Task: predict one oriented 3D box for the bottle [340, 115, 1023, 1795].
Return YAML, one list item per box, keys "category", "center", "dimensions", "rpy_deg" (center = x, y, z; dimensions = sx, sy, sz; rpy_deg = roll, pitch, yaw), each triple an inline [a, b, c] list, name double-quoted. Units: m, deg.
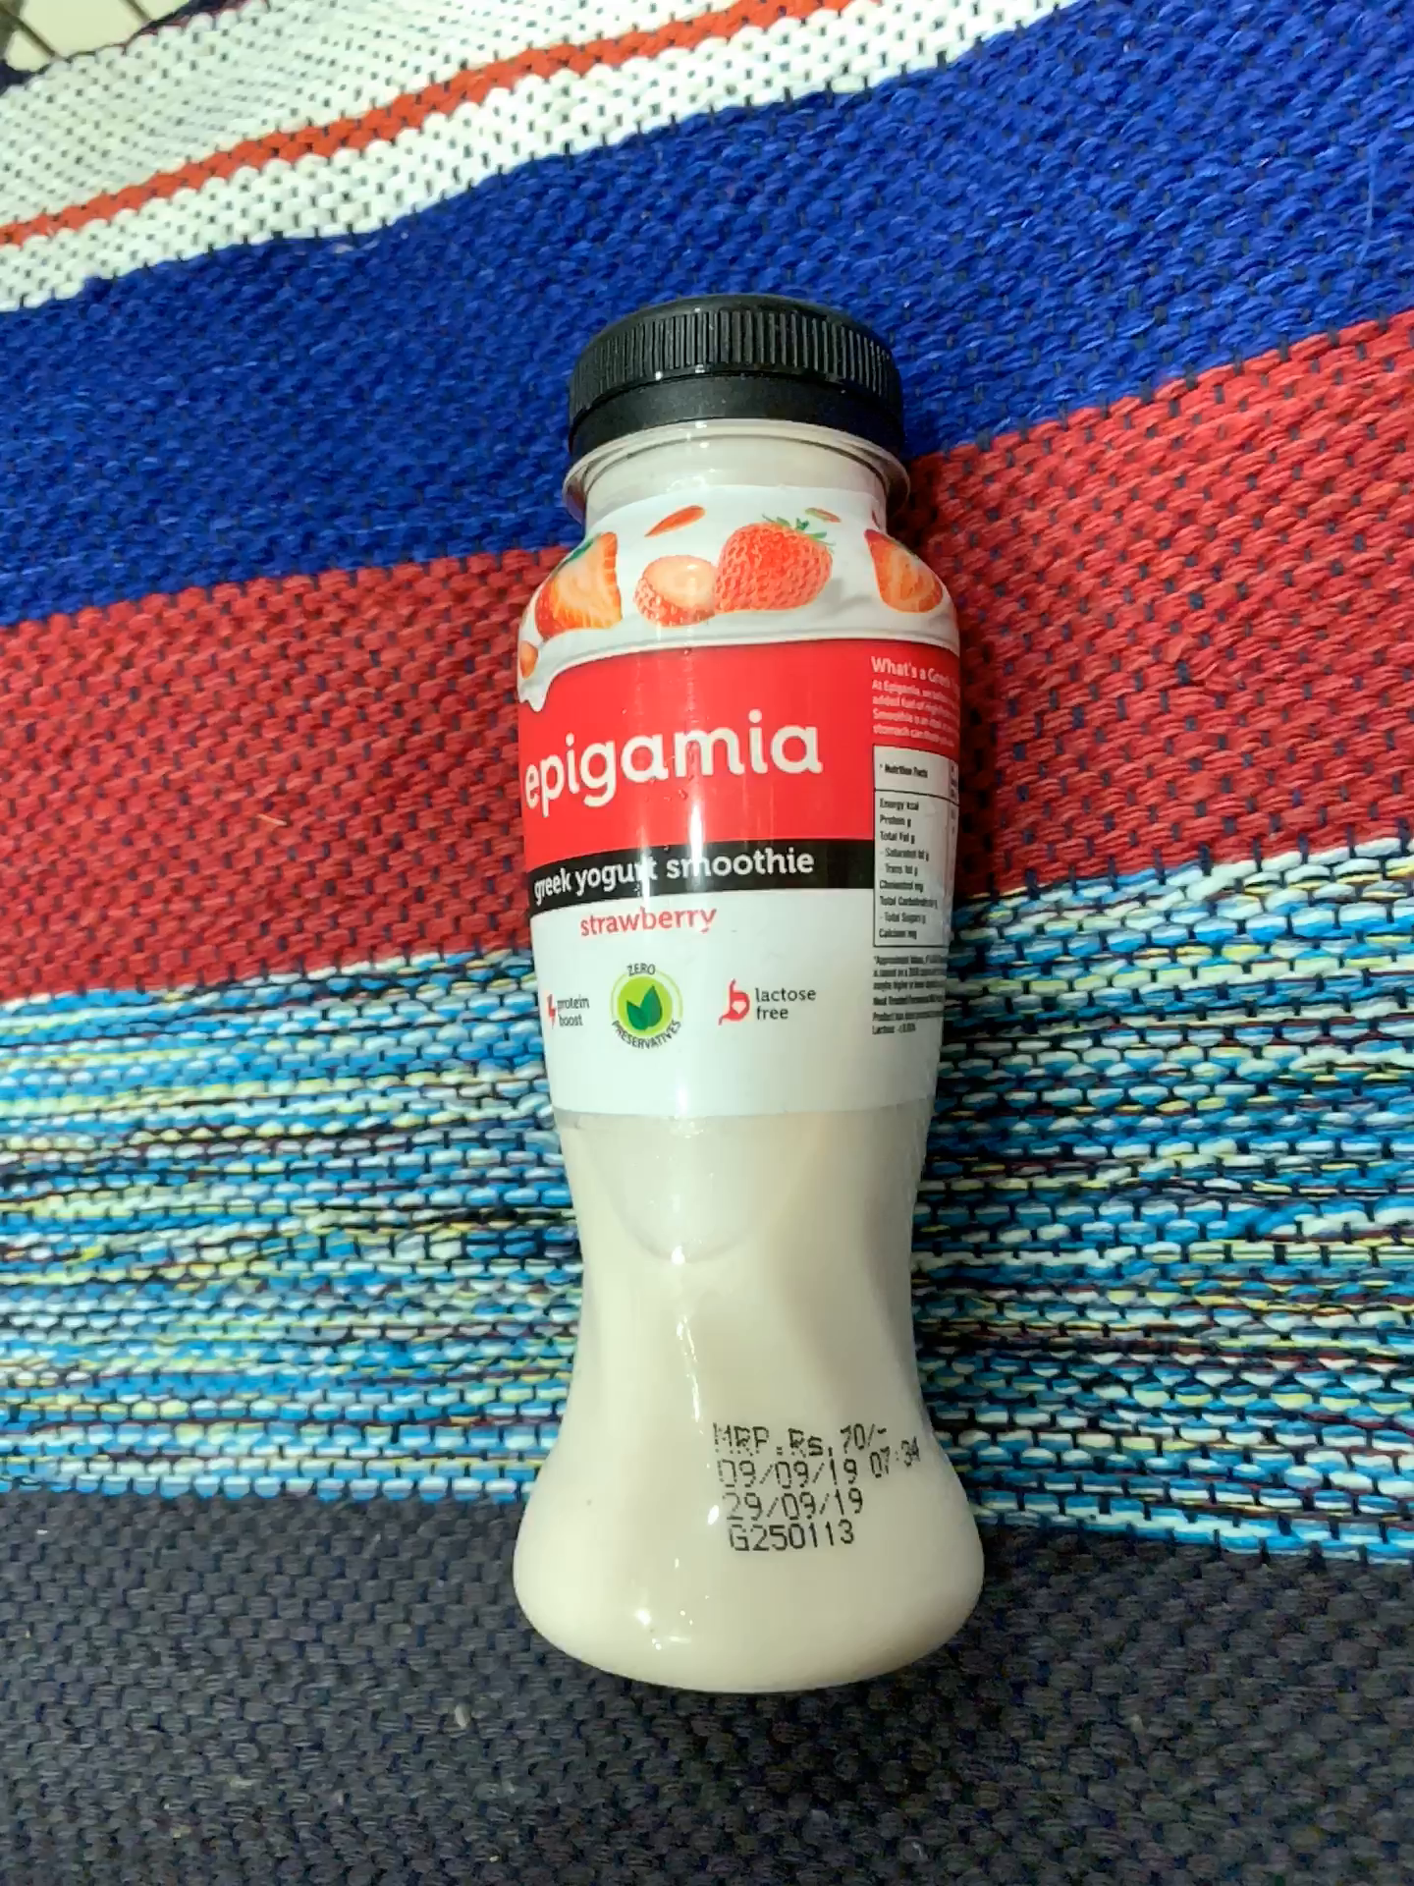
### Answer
- category: "bottle"
  center: [0.001, -0.001, 0.173]
  dimensions: [0.060, 0.050, 0.160]
  rpy_deg: [-3, 80, 20]
